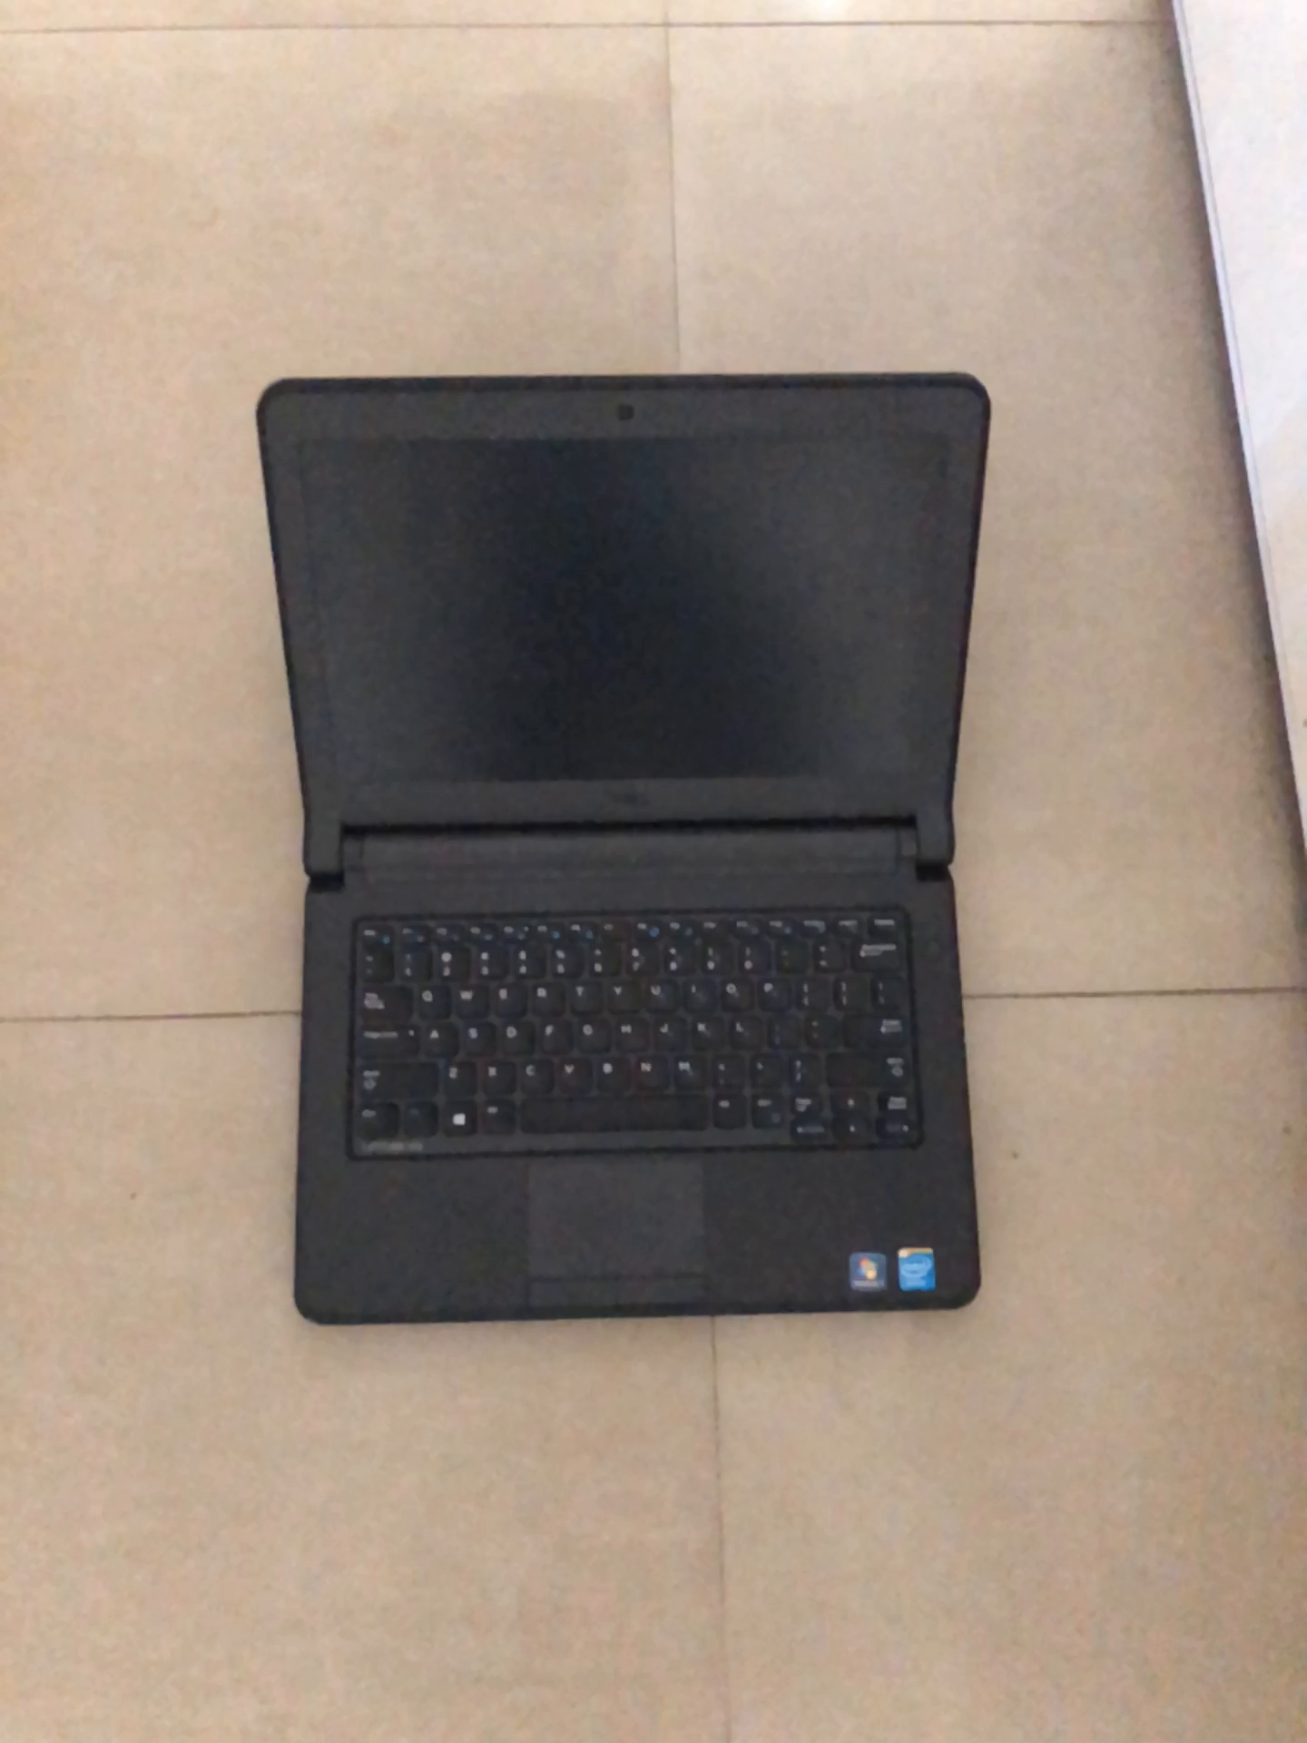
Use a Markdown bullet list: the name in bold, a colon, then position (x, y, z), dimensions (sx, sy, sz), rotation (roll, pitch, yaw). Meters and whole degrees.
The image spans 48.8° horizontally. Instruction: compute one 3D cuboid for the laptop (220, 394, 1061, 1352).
- **laptop**: position (-0.008, 0.003, 0.656), dimensions (0.312, 0.154, 0.392), rotation (-1, 76, -1)
